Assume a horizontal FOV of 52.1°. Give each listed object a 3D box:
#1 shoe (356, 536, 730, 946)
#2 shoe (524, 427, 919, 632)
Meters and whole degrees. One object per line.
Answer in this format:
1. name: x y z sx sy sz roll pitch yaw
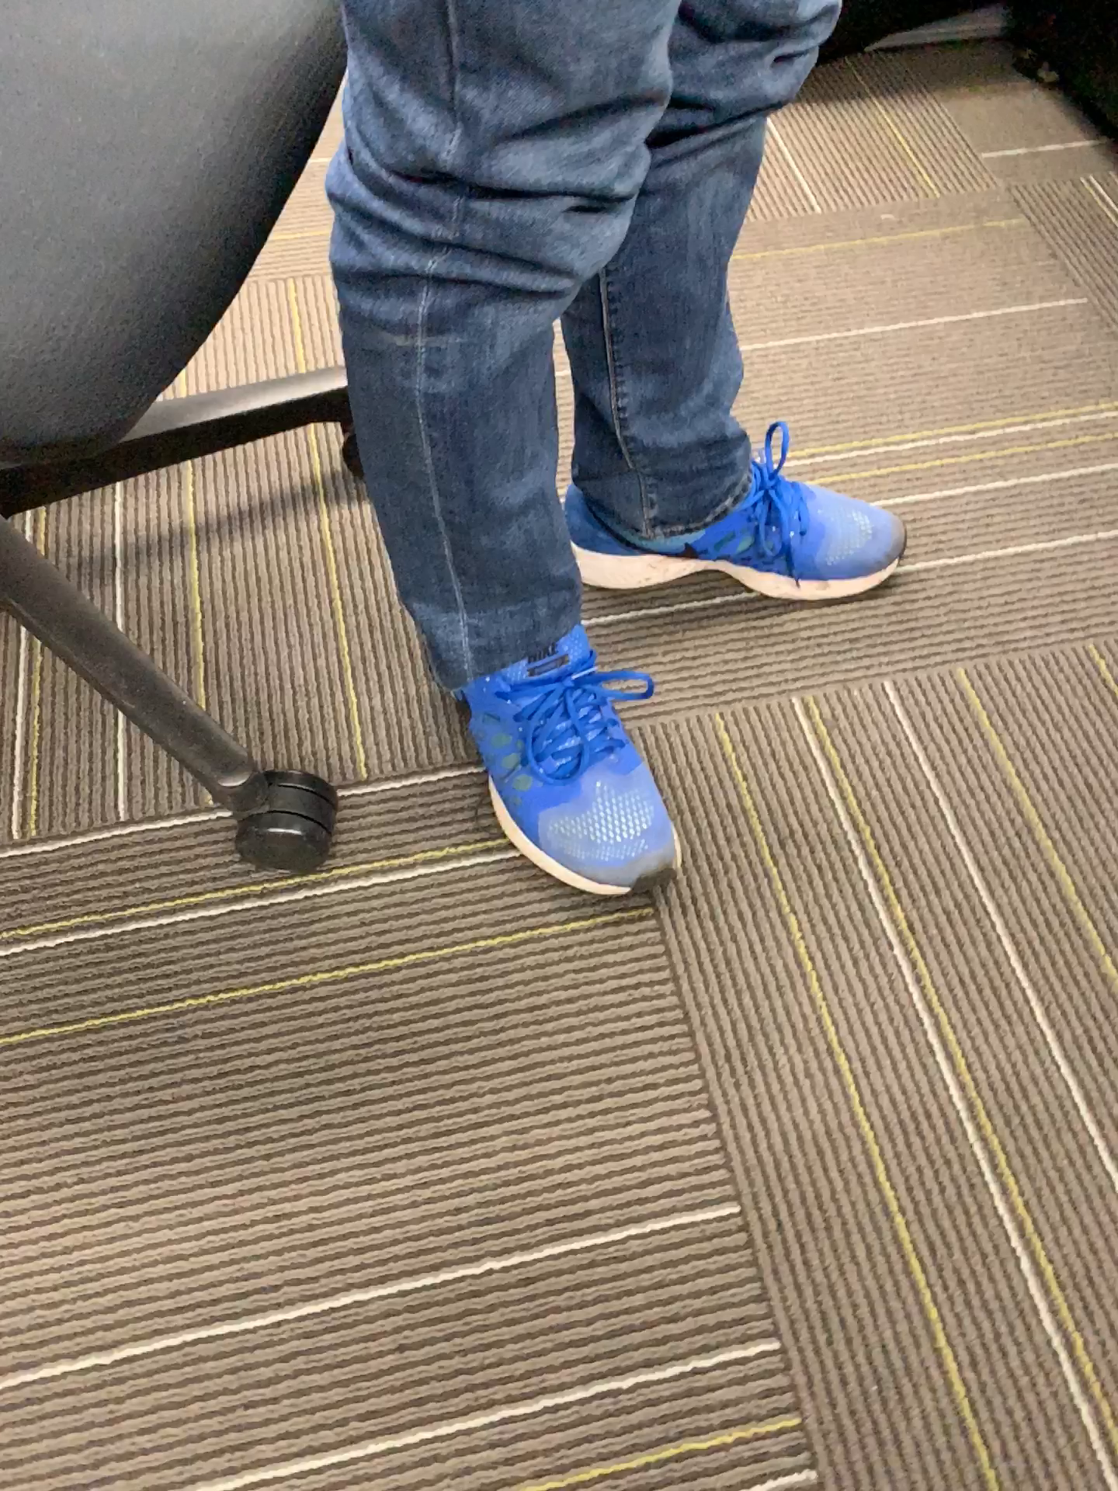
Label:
1. shoe: -0.022 -0.019 0.879 0.119 0.088 0.339 -27 51 -18
2. shoe: 0.142 -0.191 0.989 0.311 0.088 0.142 5 55 14
